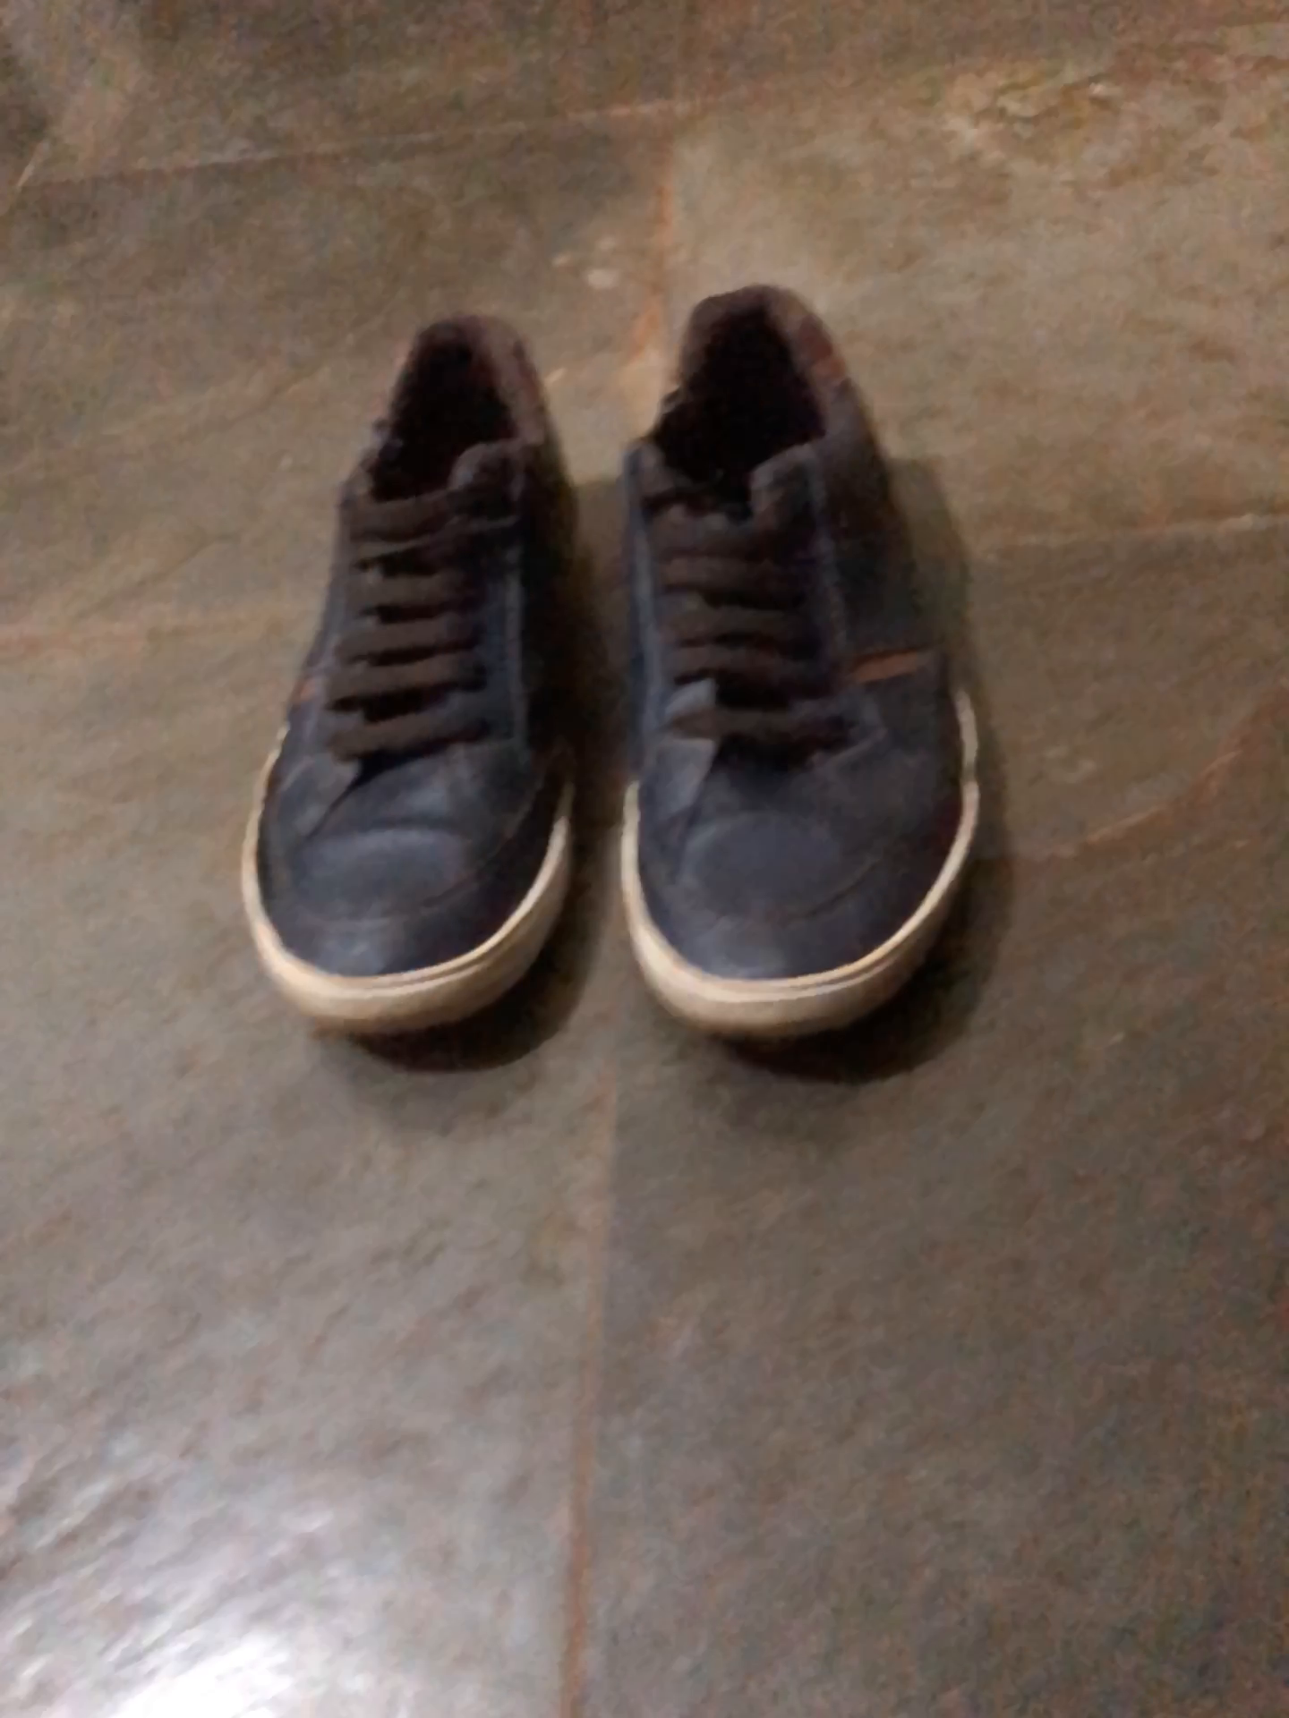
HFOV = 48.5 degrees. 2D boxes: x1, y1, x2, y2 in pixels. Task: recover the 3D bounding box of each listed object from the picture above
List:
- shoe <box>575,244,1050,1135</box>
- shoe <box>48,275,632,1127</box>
[{"bbox_3d":[0.047,-0.069,0.462,0.110,0.099,0.292,-4,52,7],"label":"shoe"},{"bbox_3d":[-0.078,-0.066,0.482,0.120,0.099,0.292,-3,52,8],"label":"shoe"}]
